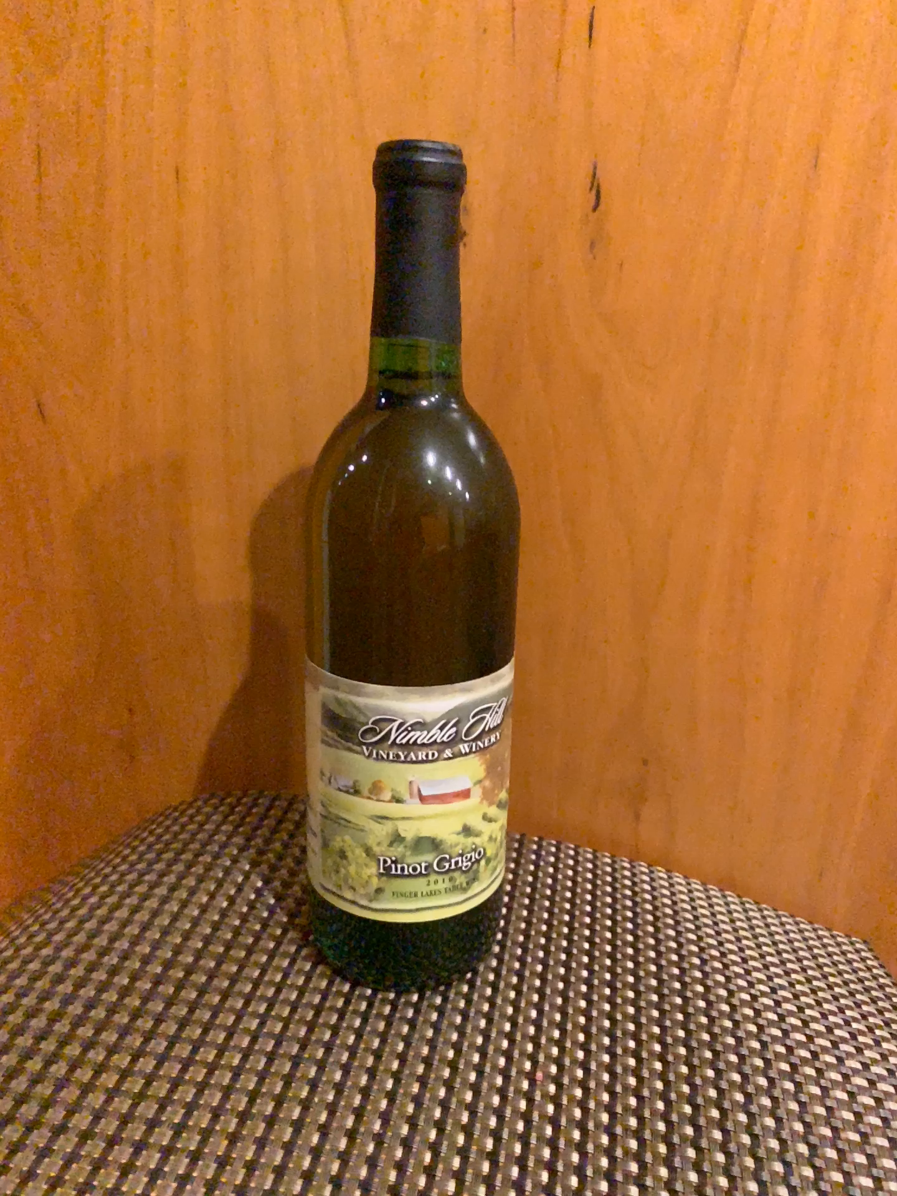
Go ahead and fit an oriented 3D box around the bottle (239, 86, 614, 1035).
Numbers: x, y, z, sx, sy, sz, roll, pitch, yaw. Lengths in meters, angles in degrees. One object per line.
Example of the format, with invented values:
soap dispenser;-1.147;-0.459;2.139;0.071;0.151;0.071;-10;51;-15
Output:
bottle;-0.014;-0.003;0.299;0.090;0.269;0.080;0;17;-7
